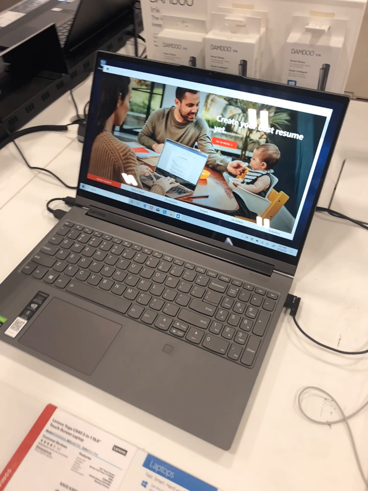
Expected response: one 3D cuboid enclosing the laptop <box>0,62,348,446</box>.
[{"bbox_3d":[-0.036,-0.034,0.501,0.346,0.189,0.369,18,51,18],"label":"laptop"}]
